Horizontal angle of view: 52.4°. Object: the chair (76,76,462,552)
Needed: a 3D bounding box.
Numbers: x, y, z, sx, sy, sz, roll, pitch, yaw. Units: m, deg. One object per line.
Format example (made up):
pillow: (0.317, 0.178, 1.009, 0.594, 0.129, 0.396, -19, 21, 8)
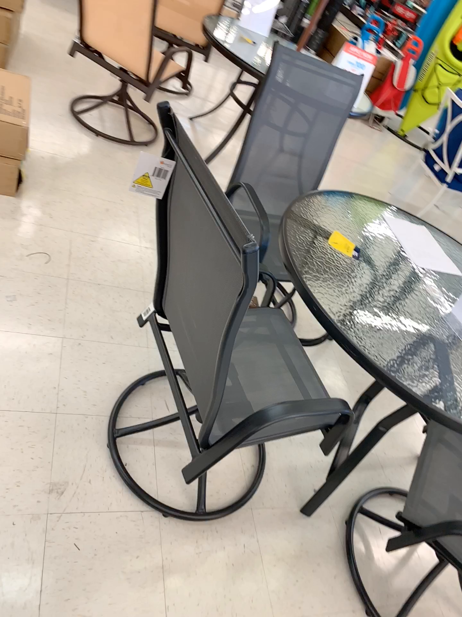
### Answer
chair: (0.061, 0.079, 1.247, 0.641, 0.975, 0.582, -1, 48, -33)
